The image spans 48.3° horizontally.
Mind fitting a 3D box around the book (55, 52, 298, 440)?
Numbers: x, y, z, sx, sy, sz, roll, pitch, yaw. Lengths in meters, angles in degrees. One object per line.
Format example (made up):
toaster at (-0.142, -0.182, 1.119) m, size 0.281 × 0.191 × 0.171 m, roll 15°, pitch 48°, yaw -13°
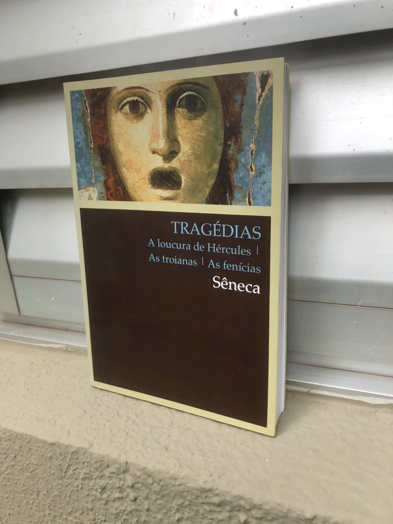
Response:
book at (-0.015, -0.008, 0.265) m, size 0.144 × 0.197 × 0.026 m, roll 5°, pitch 13°, yaw 29°
